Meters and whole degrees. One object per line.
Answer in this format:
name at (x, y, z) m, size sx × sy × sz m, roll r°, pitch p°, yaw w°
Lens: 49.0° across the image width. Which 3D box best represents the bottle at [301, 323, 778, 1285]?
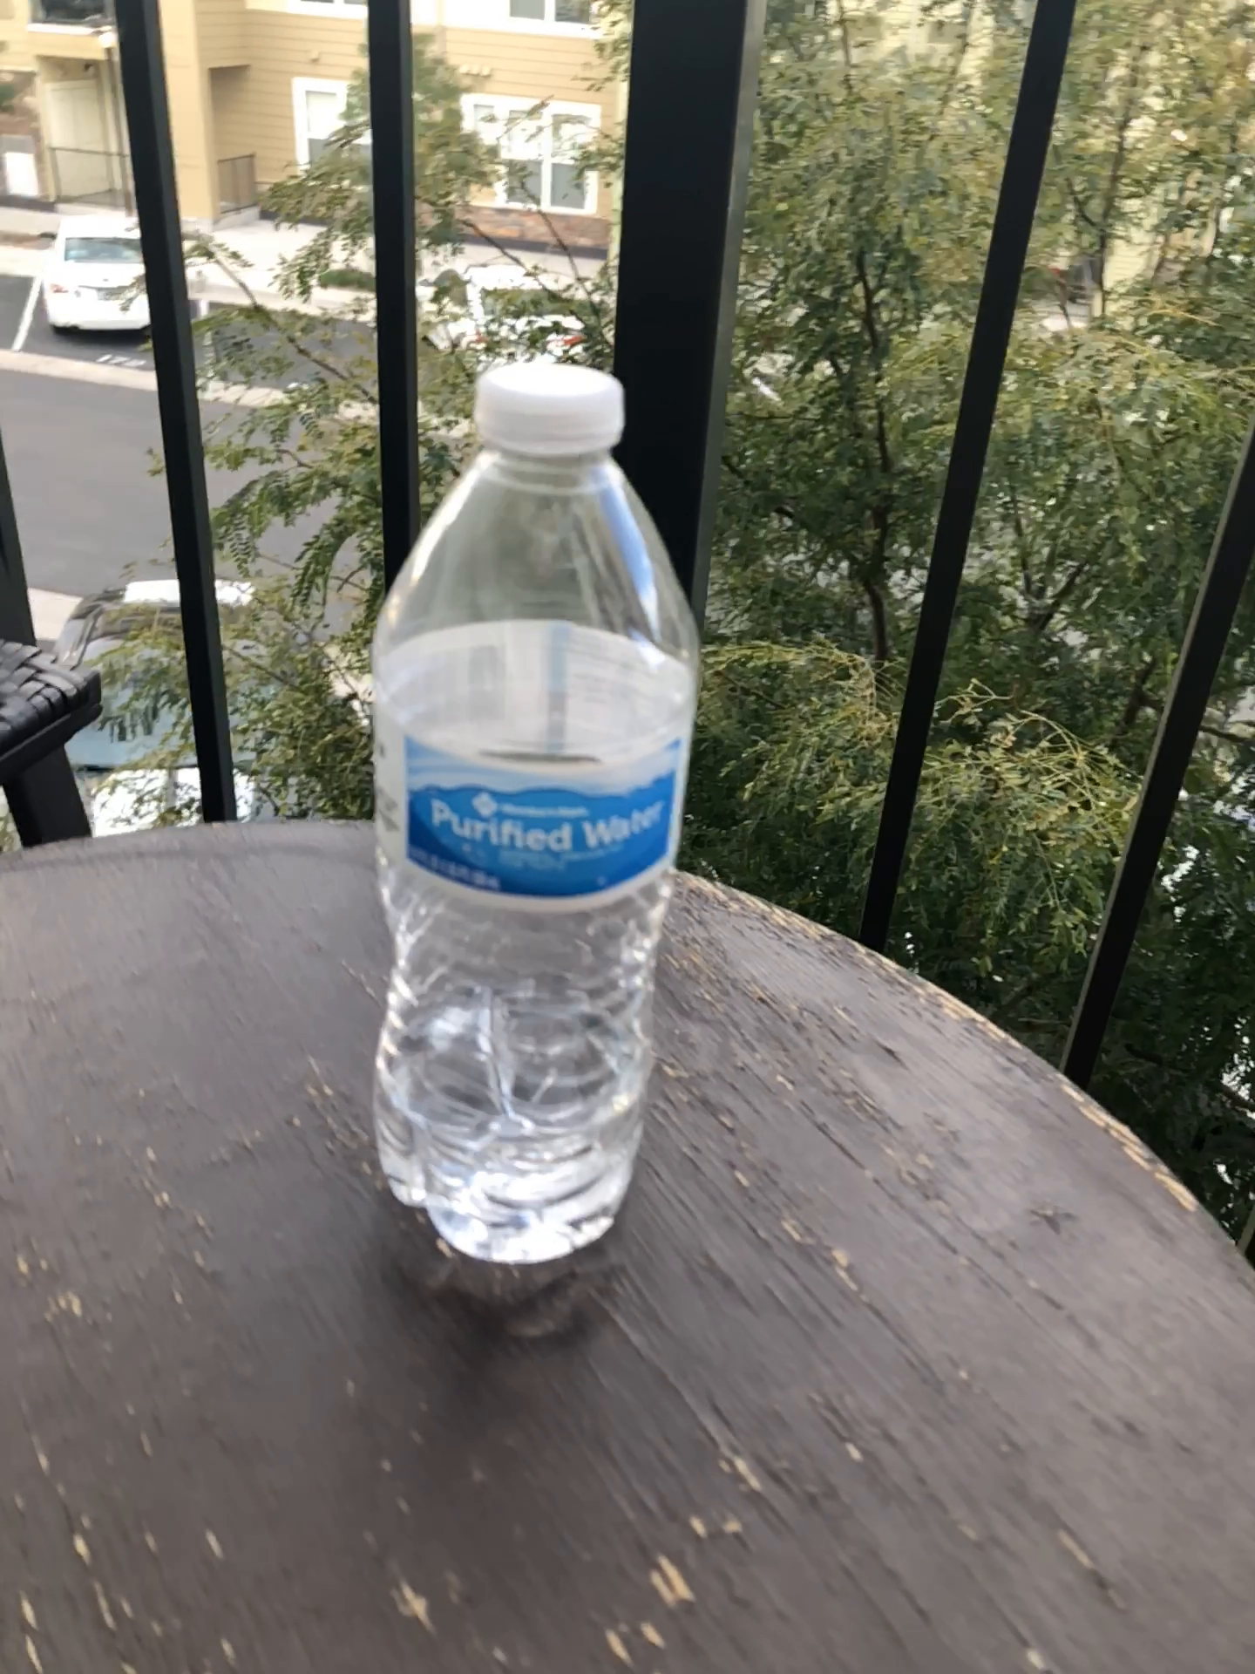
bottle at (-0.023, -0.002, 0.297) m, size 0.074 × 0.189 × 0.080 m, roll 3°, pitch 31°, yaw -2°
